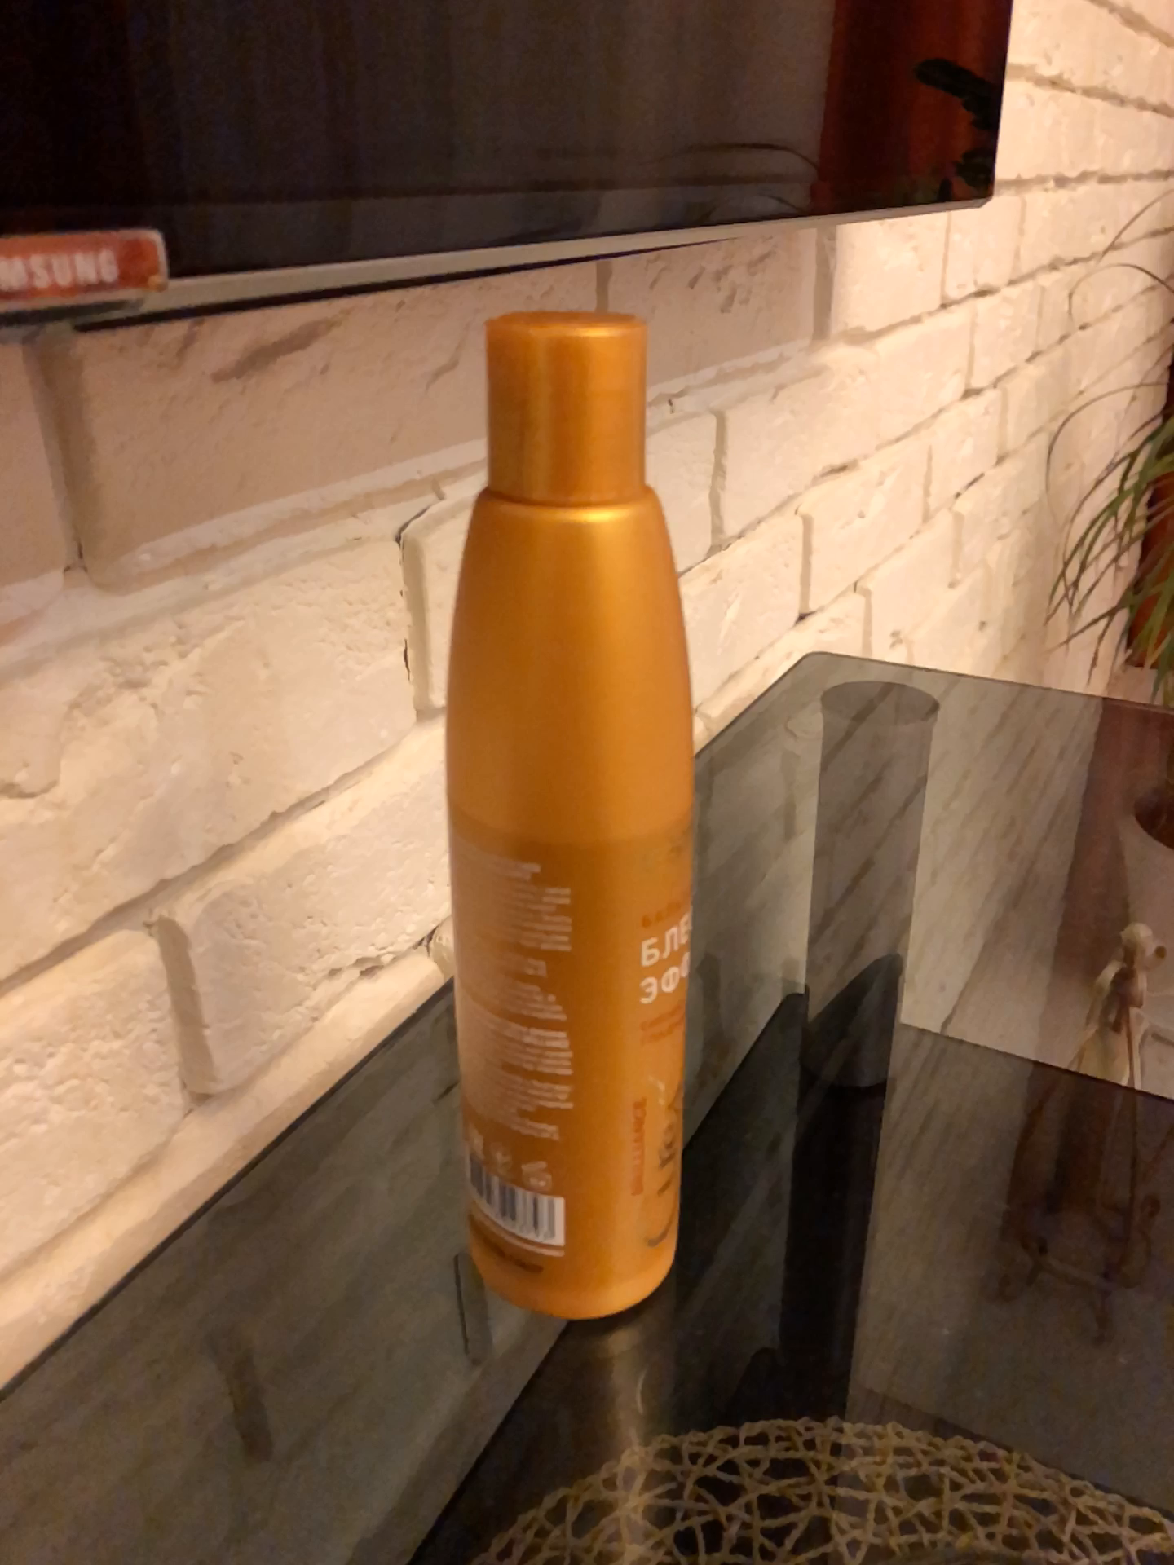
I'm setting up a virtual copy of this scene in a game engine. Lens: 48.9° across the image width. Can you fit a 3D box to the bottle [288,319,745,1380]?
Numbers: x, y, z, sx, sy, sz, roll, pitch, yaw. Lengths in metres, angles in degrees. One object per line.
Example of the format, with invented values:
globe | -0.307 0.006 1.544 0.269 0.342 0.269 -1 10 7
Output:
bottle | -0.008 0.017 0.254 0.060 0.199 0.050 9 26 21
